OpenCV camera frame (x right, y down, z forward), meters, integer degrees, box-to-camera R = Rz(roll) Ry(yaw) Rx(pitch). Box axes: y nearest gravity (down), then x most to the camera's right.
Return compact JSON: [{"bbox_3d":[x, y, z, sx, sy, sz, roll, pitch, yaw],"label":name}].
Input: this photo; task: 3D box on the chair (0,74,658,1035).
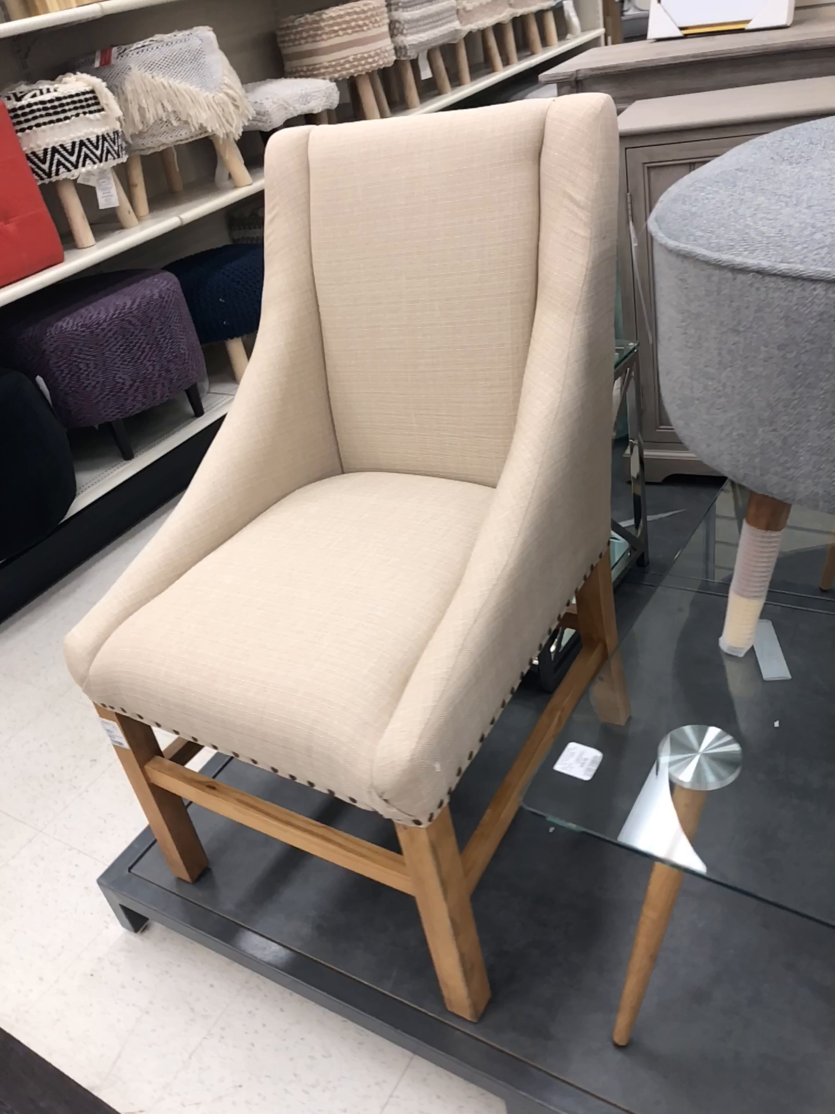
[{"bbox_3d":[-0.102,-0.029,1.268,0.612,0.966,0.651,10,39,32],"label":"chair"}]
